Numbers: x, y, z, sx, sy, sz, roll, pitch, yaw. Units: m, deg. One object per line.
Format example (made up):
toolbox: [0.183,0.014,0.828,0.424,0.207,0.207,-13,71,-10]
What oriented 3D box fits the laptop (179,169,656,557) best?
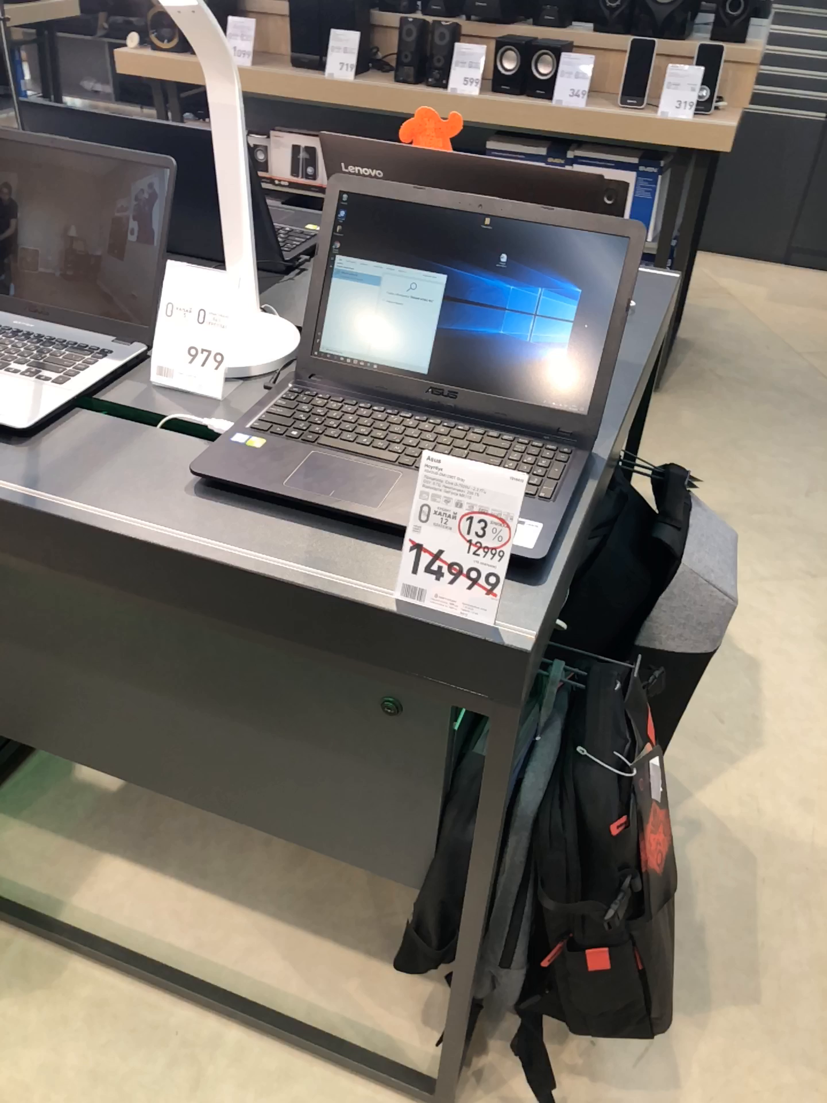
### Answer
laptop: [0.022,-0.230,0.978,0.380,0.209,0.372,14,39,15]
